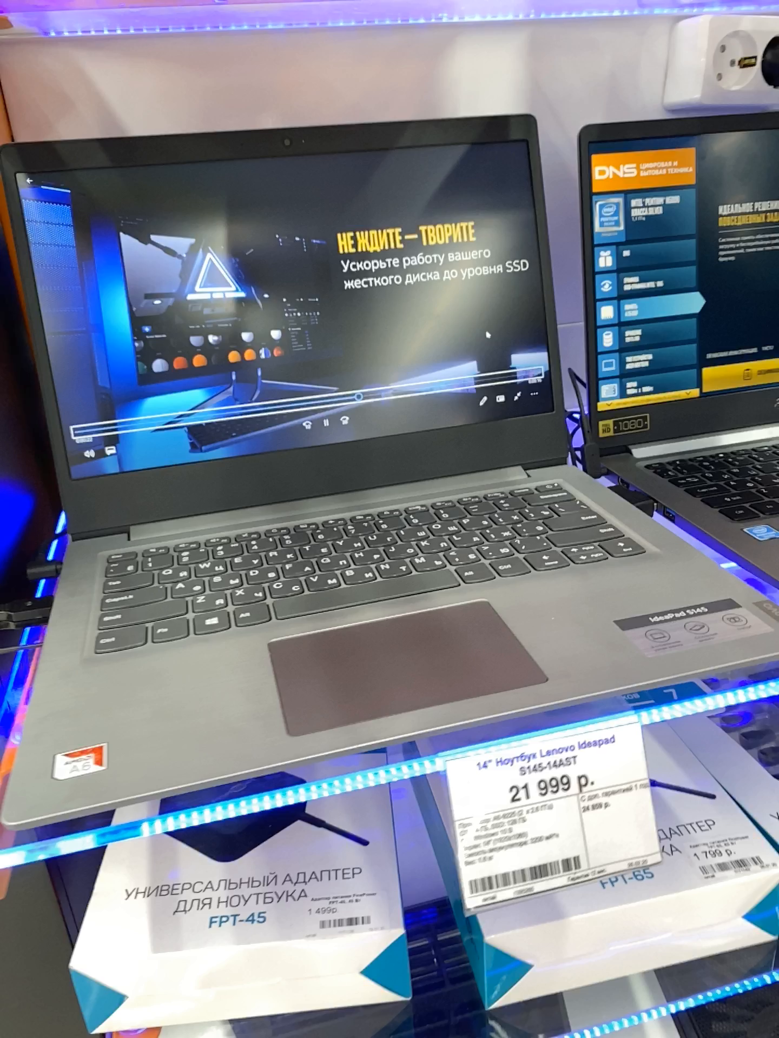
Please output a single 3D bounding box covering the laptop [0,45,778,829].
[{"bbox_3d":[-0.019,-0.079,0.392,0.327,0.215,0.304,-9,24,-12],"label":"laptop"}]
